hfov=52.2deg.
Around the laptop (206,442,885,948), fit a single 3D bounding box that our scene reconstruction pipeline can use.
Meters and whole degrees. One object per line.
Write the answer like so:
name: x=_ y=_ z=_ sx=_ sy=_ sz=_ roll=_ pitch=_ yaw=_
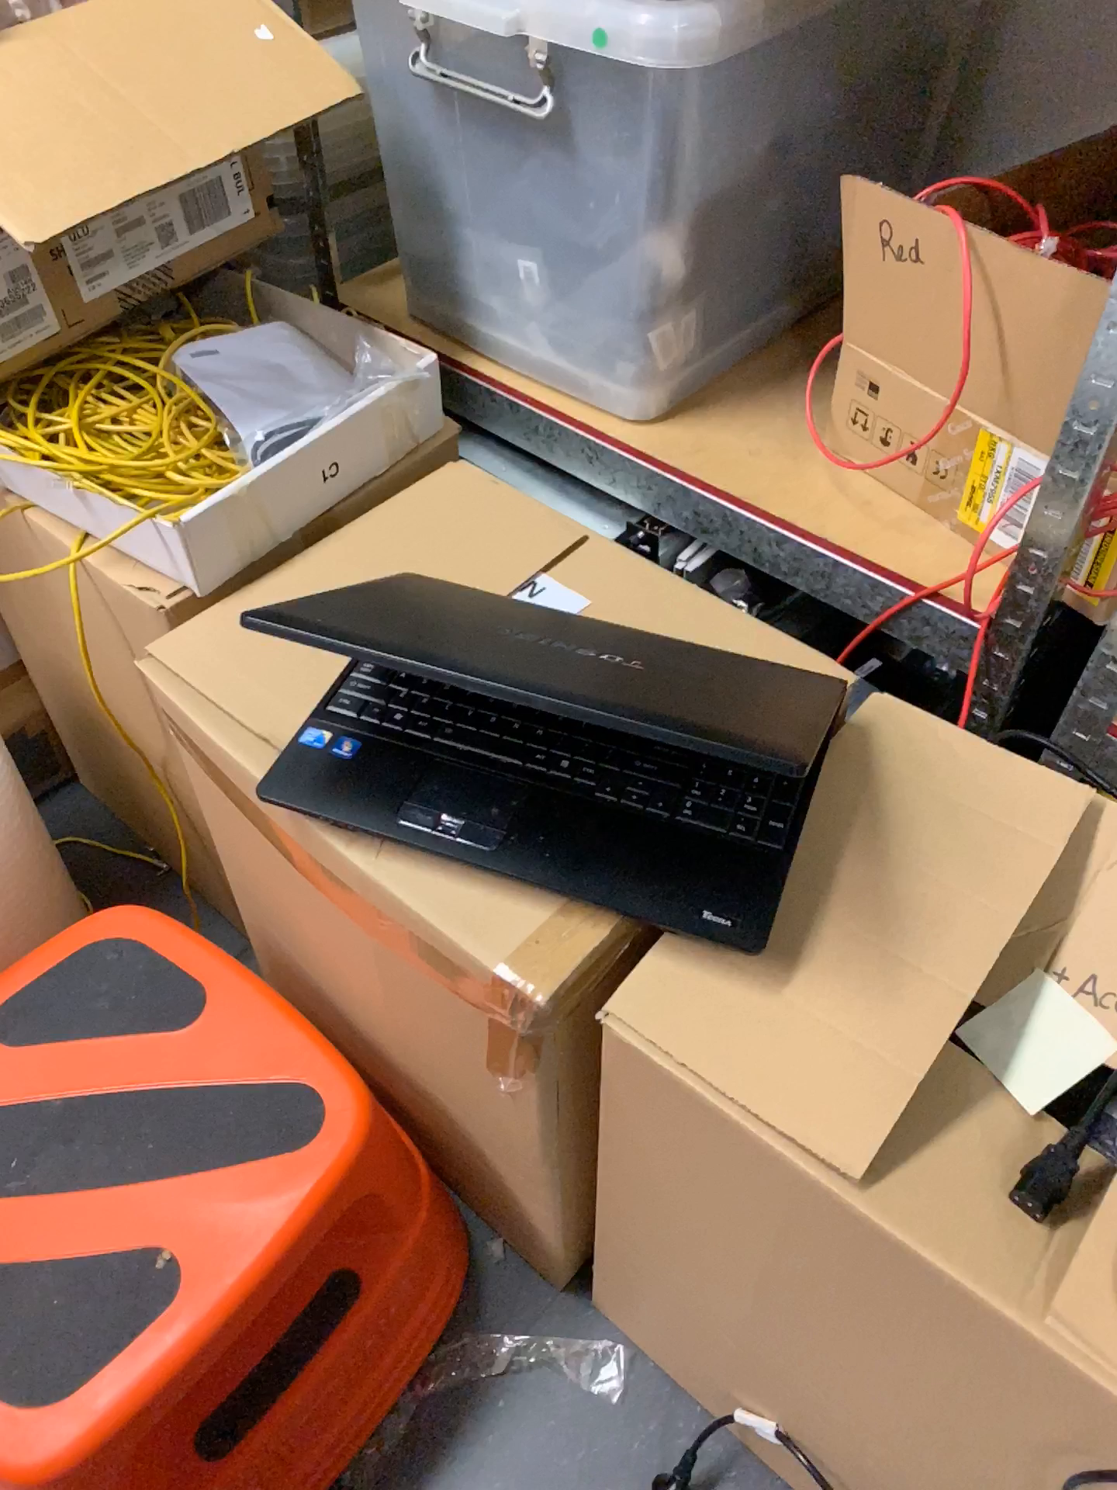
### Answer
laptop: x=0.000 y=-0.046 z=0.764 sx=0.354 sy=0.135 sz=0.232 roll=16 pitch=52 yaw=13
